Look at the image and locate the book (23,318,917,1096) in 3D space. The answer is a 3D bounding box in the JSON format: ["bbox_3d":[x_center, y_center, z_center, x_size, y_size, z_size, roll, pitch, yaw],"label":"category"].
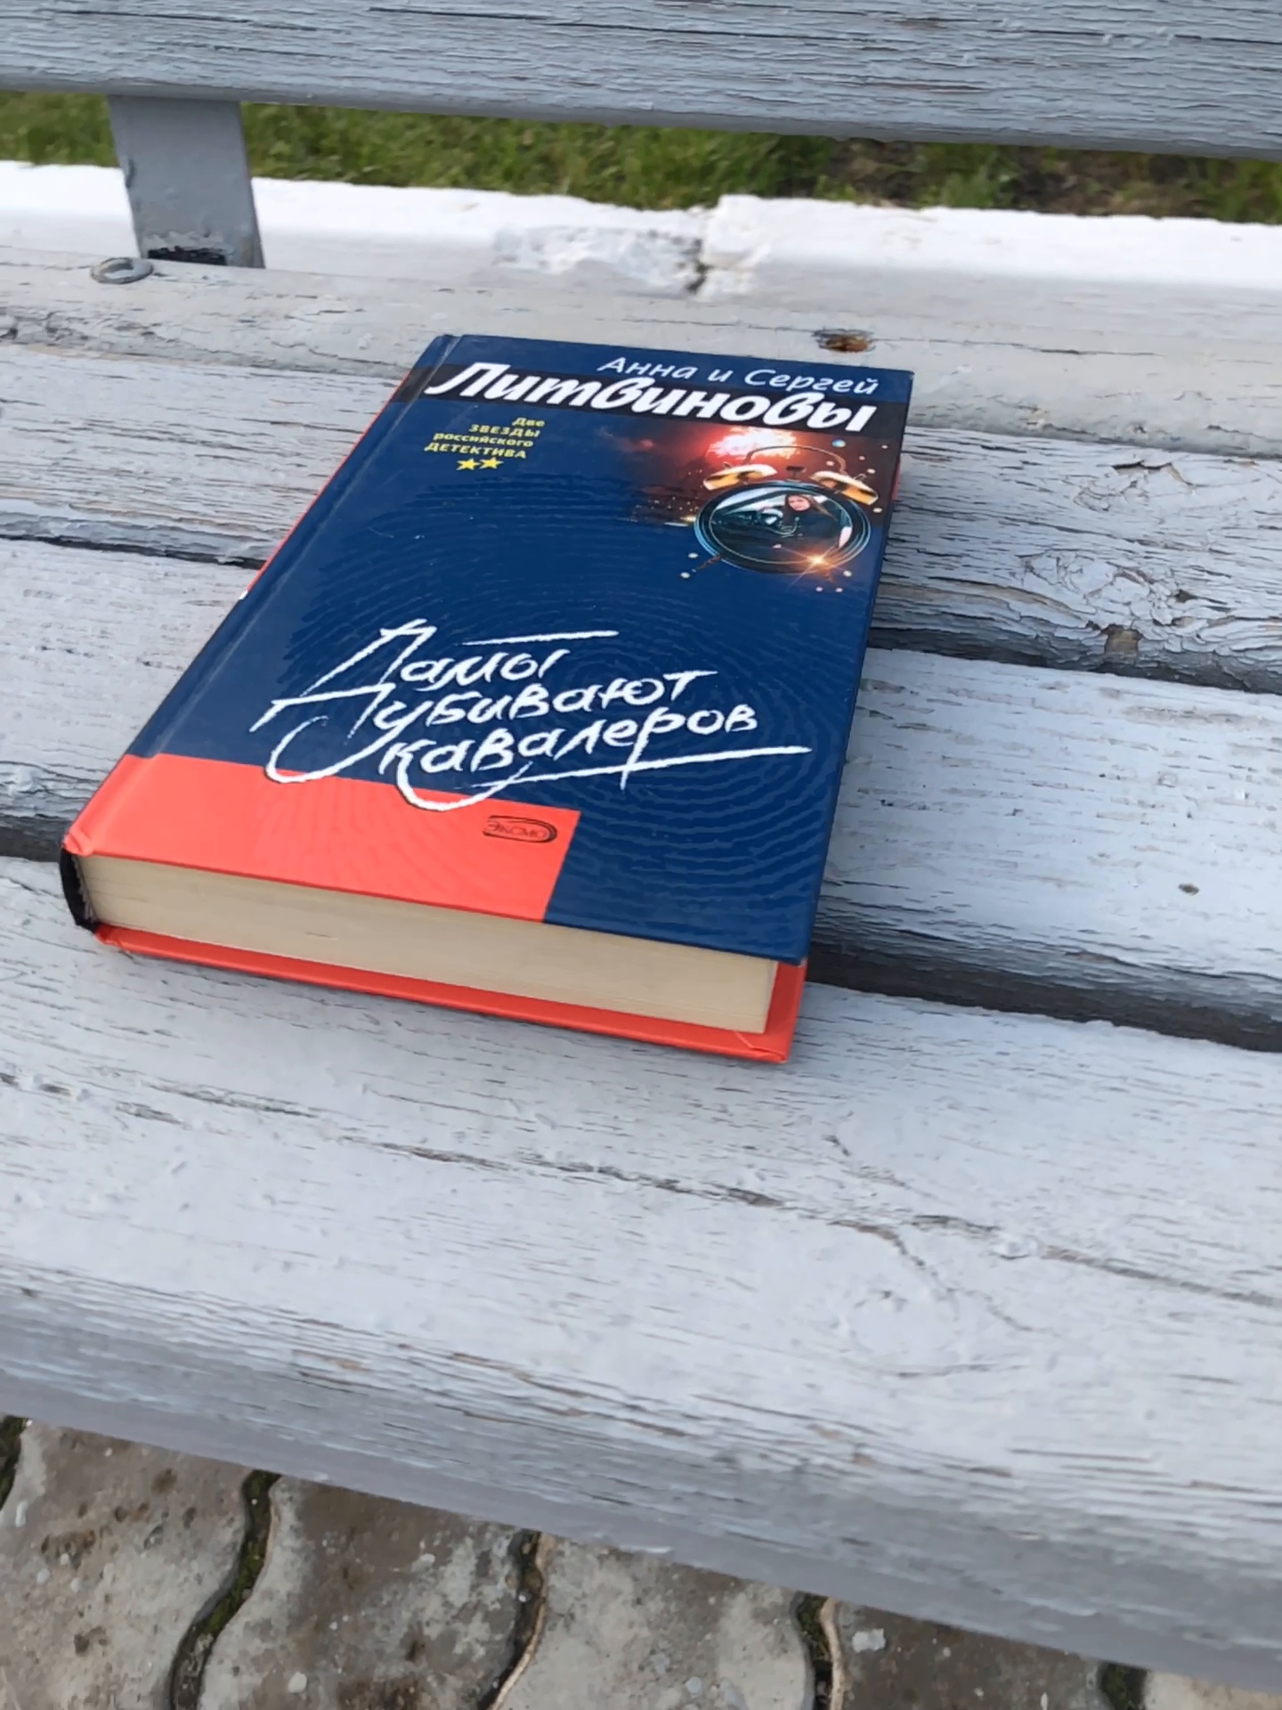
[{"bbox_3d":[-0.016,-0.052,0.305,0.130,0.030,0.208,8,45,9],"label":"book"}]
